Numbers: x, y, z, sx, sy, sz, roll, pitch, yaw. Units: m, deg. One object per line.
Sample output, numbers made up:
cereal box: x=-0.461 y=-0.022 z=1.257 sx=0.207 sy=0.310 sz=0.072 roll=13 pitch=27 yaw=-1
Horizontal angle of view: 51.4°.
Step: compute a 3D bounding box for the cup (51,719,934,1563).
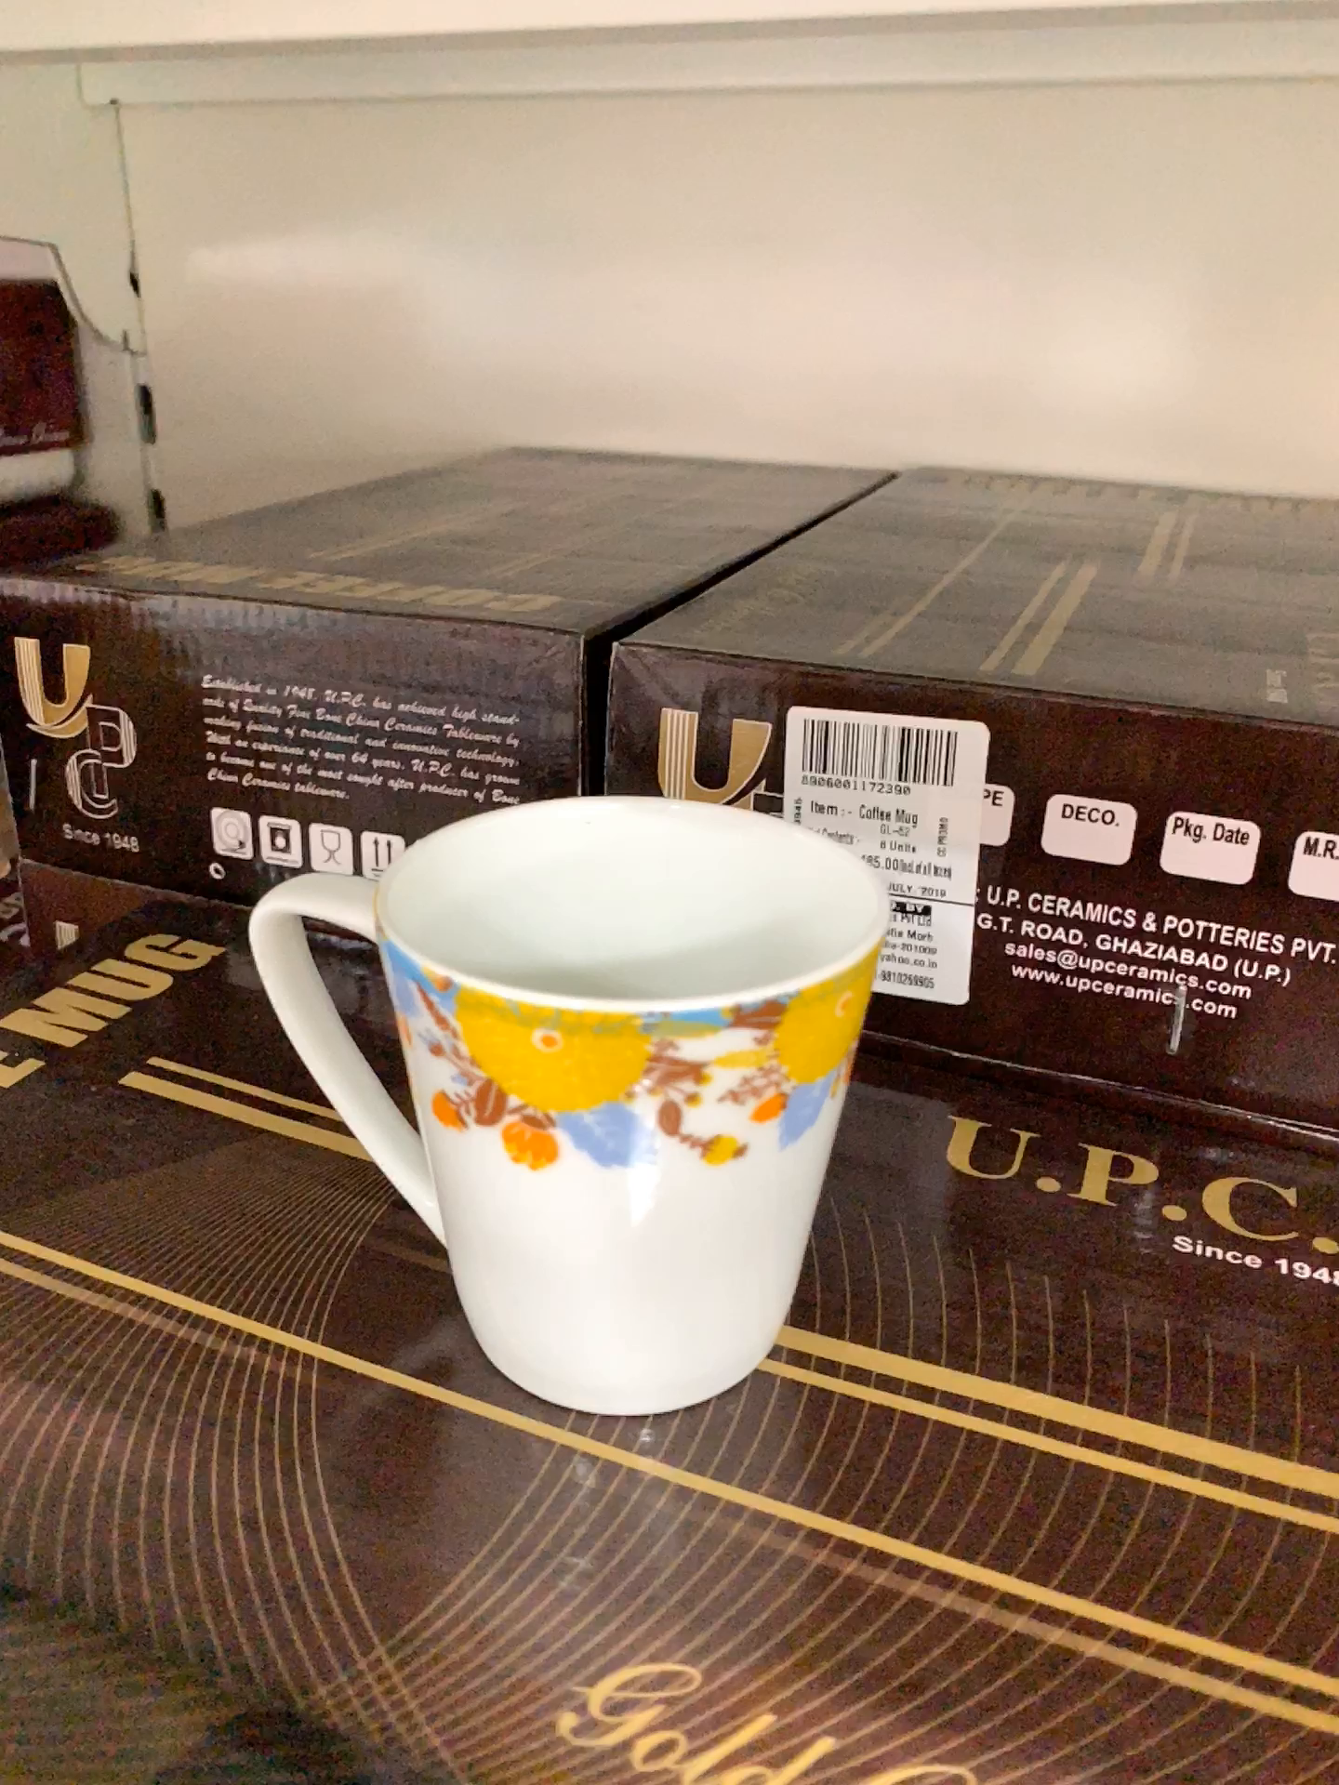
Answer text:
cup: x=-0.019 y=0.025 z=0.193 sx=0.090 sy=0.069 sz=0.070 roll=10 pitch=25 yaw=20
